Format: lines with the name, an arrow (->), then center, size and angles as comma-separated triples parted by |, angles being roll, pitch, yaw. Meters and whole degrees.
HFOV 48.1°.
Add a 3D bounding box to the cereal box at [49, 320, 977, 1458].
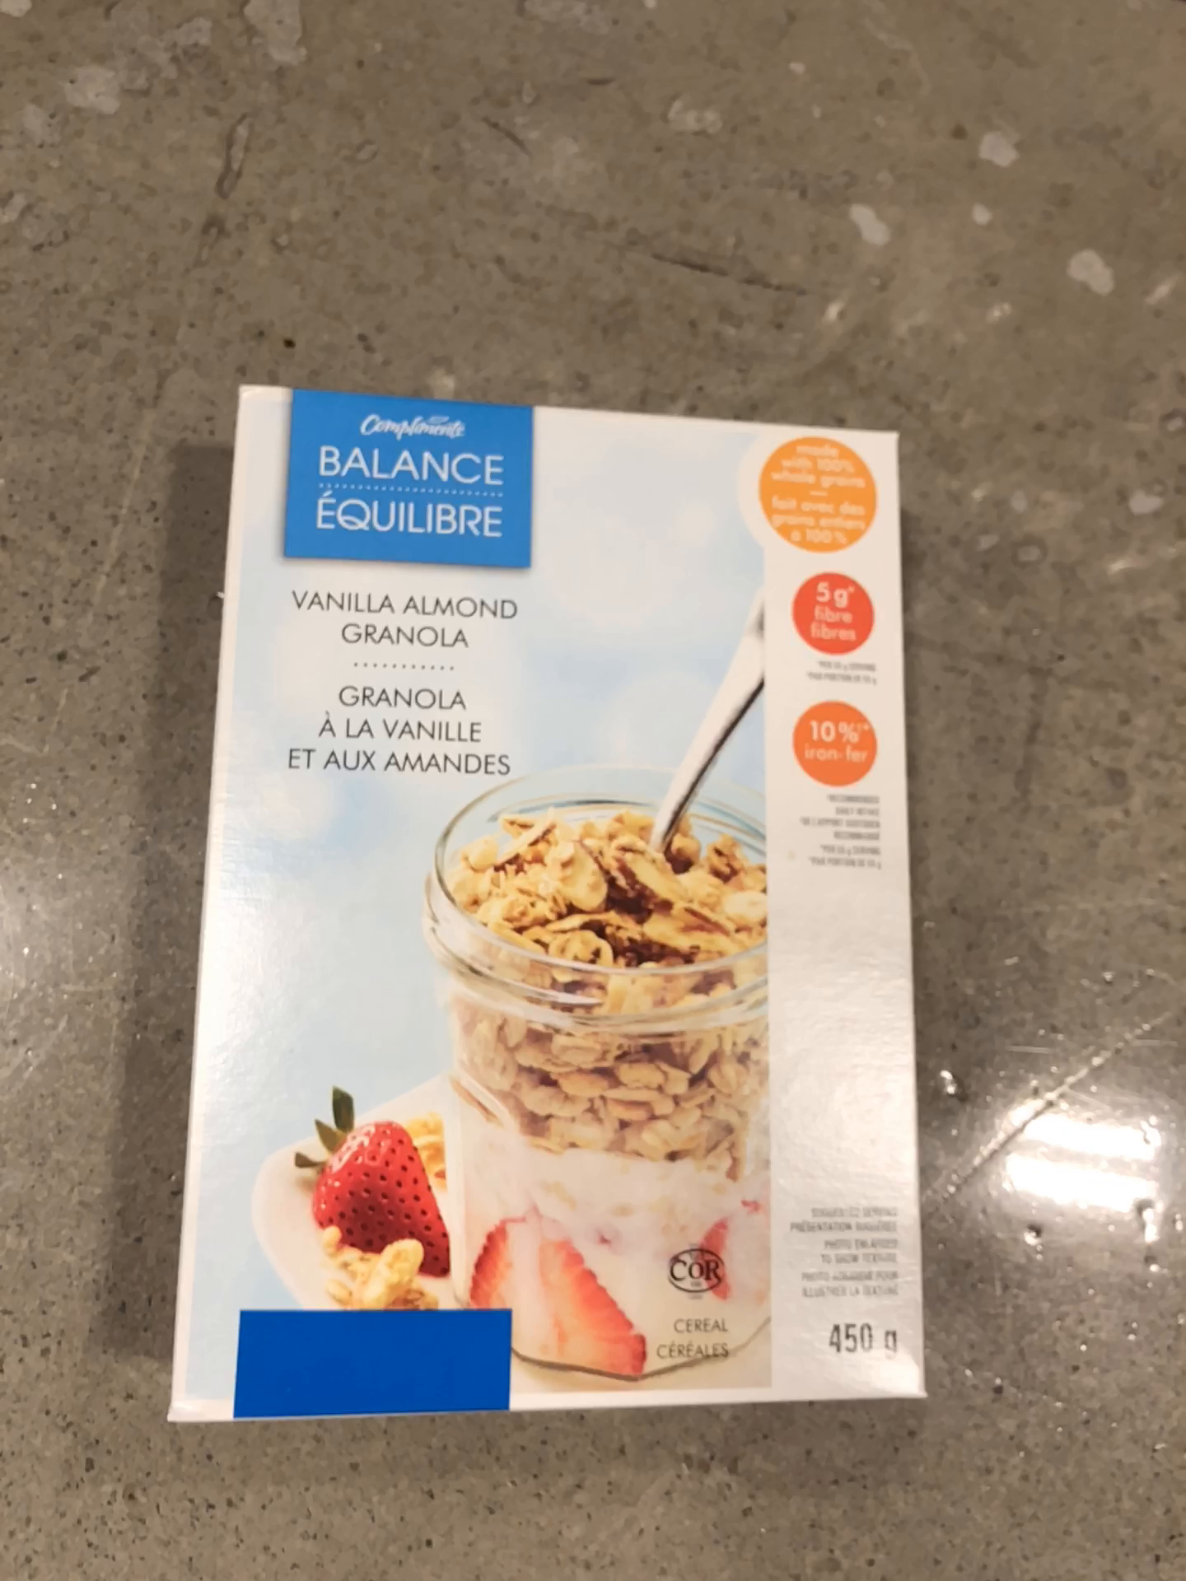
cereal box -> -0.014, 0.019, 0.316 | 0.190, 0.050, 0.240 | 2, 81, -7
